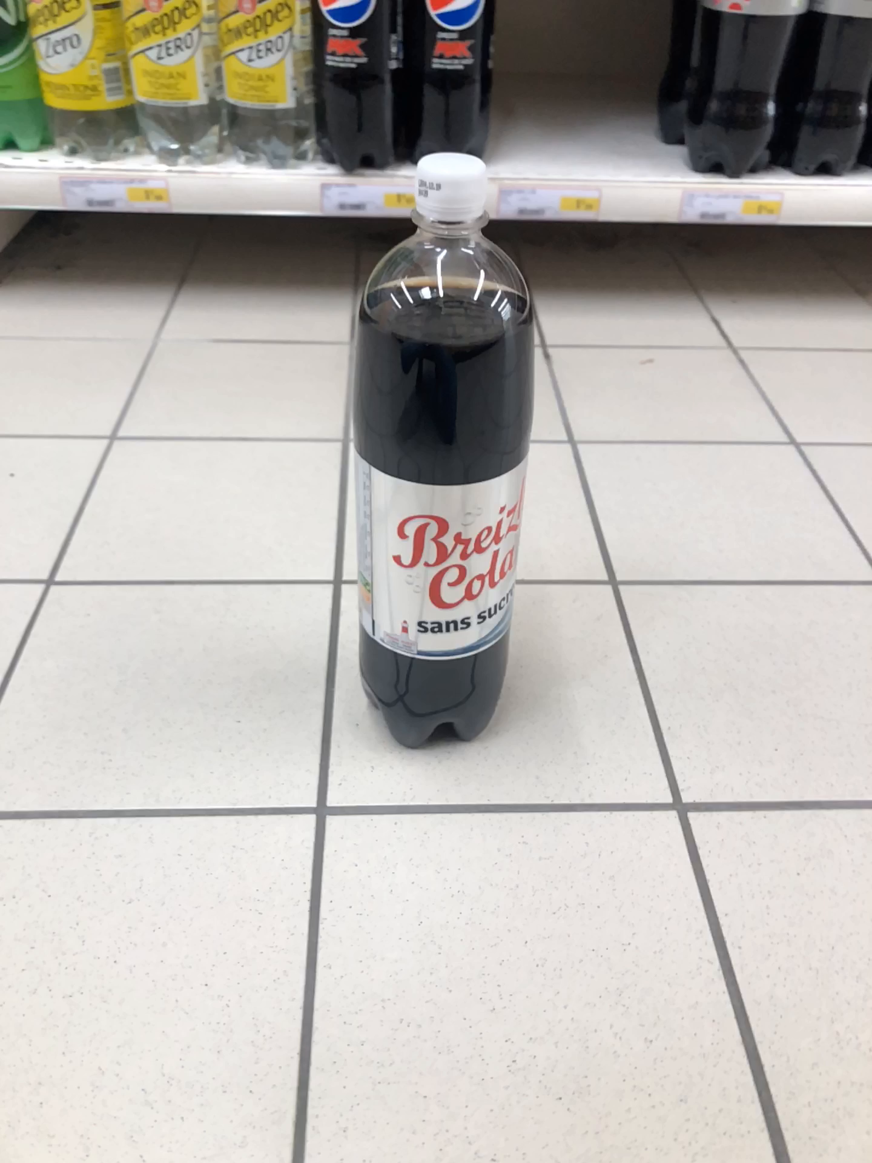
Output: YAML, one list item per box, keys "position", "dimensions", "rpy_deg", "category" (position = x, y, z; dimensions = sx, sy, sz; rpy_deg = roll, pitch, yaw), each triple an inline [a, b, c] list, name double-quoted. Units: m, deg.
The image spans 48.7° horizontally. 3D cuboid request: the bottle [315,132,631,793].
- position: [0.008, -0.046, 0.497]
  dimensions: [0.100, 0.318, 0.090]
  rpy_deg: [-17, 41, -24]
  category: "bottle"
